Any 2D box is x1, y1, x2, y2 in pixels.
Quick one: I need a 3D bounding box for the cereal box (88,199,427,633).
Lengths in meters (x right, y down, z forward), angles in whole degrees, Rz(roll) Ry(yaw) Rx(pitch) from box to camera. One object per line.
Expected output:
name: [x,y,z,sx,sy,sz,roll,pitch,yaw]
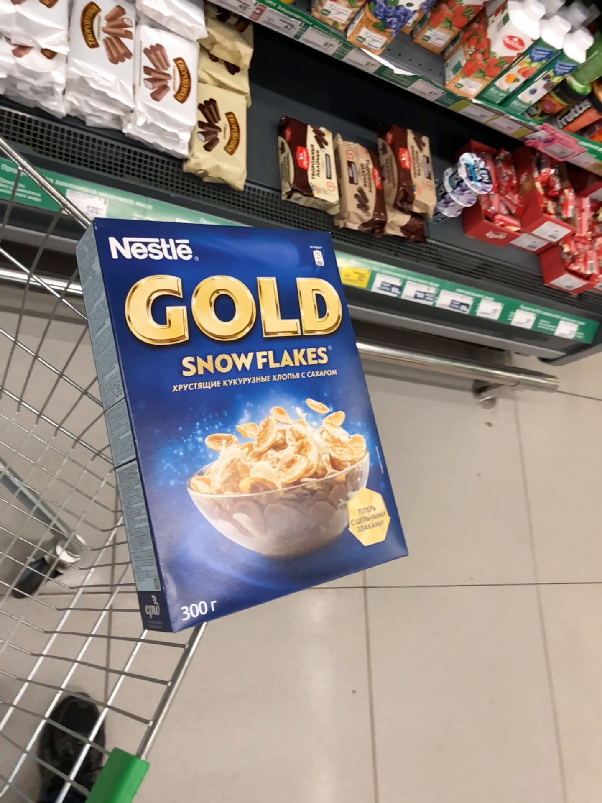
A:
cereal box: [-0.026,0.001,0.479,0.201,0.050,0.270,-5,78,-38]
